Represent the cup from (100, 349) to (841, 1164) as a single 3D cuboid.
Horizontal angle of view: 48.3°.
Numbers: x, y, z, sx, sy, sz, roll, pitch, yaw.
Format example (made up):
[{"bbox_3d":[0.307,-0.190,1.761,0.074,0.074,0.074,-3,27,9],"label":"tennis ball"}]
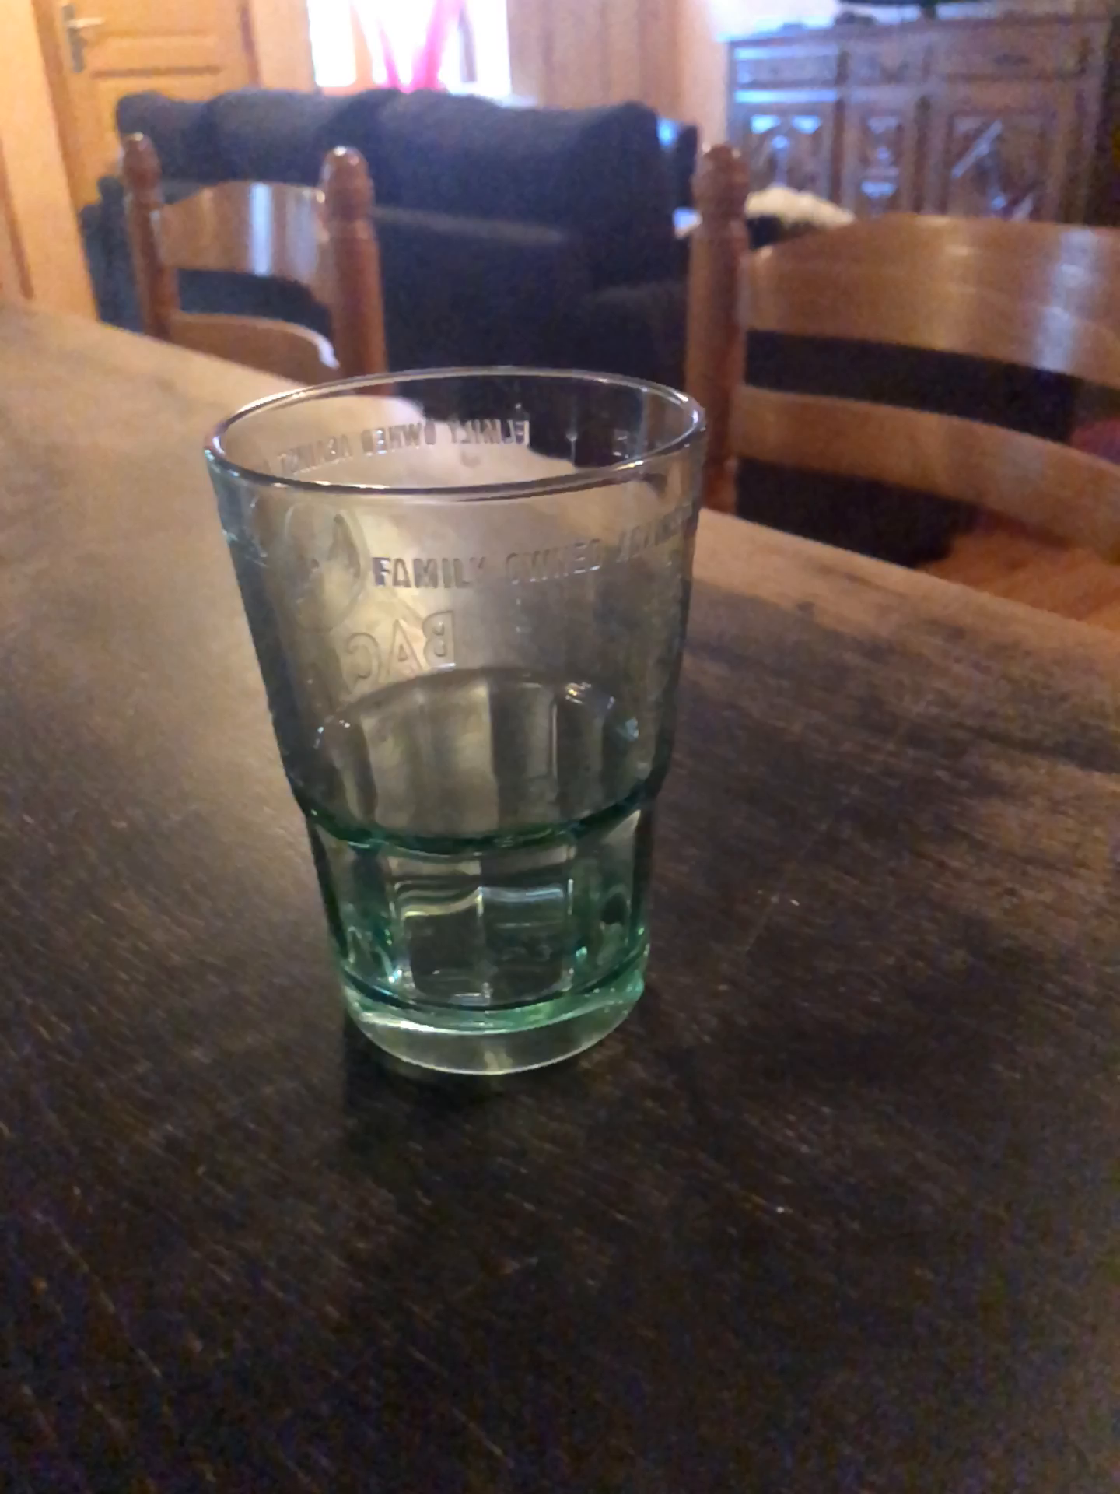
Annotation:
[{"bbox_3d":[-0.013,-0.008,0.228,0.089,0.103,0.083,-2,28,1],"label":"cup"}]
